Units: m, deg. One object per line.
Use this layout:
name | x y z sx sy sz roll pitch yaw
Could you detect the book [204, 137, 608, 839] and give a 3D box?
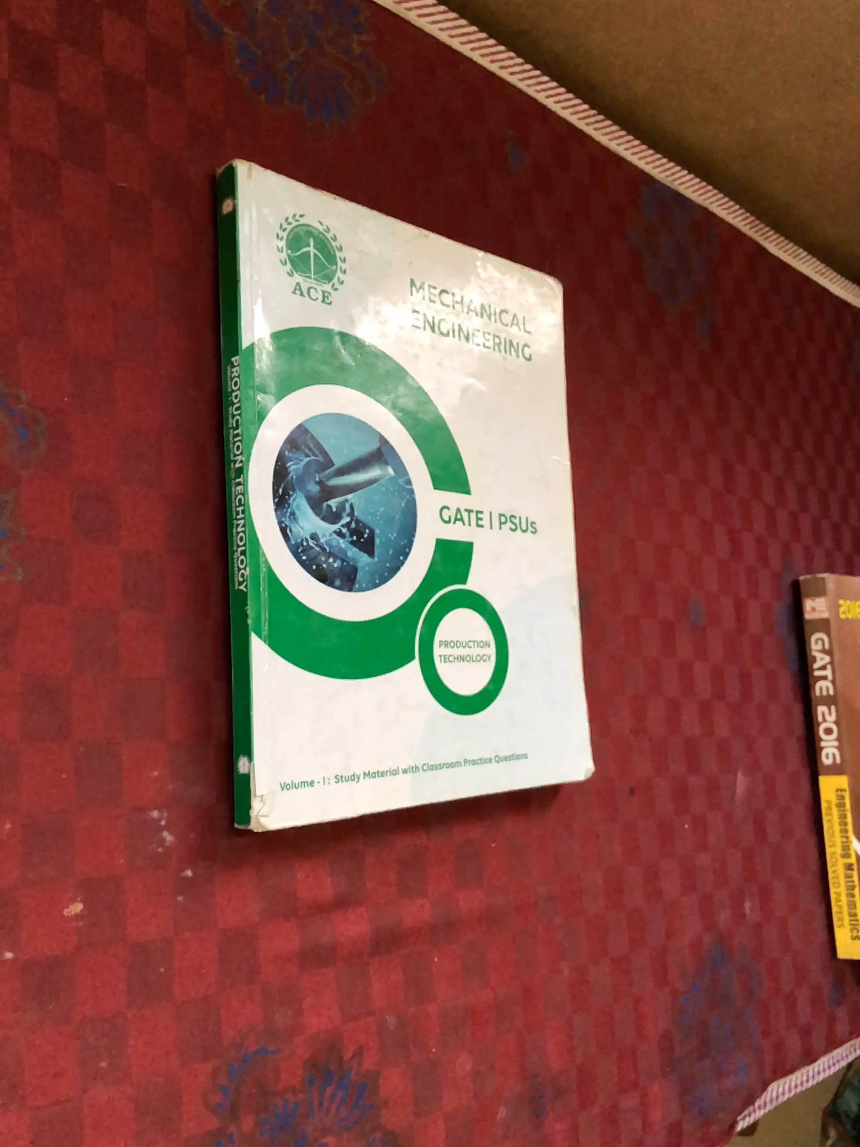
book | -0.002 -0.033 0.456 0.211 0.030 0.280 3 80 -43
